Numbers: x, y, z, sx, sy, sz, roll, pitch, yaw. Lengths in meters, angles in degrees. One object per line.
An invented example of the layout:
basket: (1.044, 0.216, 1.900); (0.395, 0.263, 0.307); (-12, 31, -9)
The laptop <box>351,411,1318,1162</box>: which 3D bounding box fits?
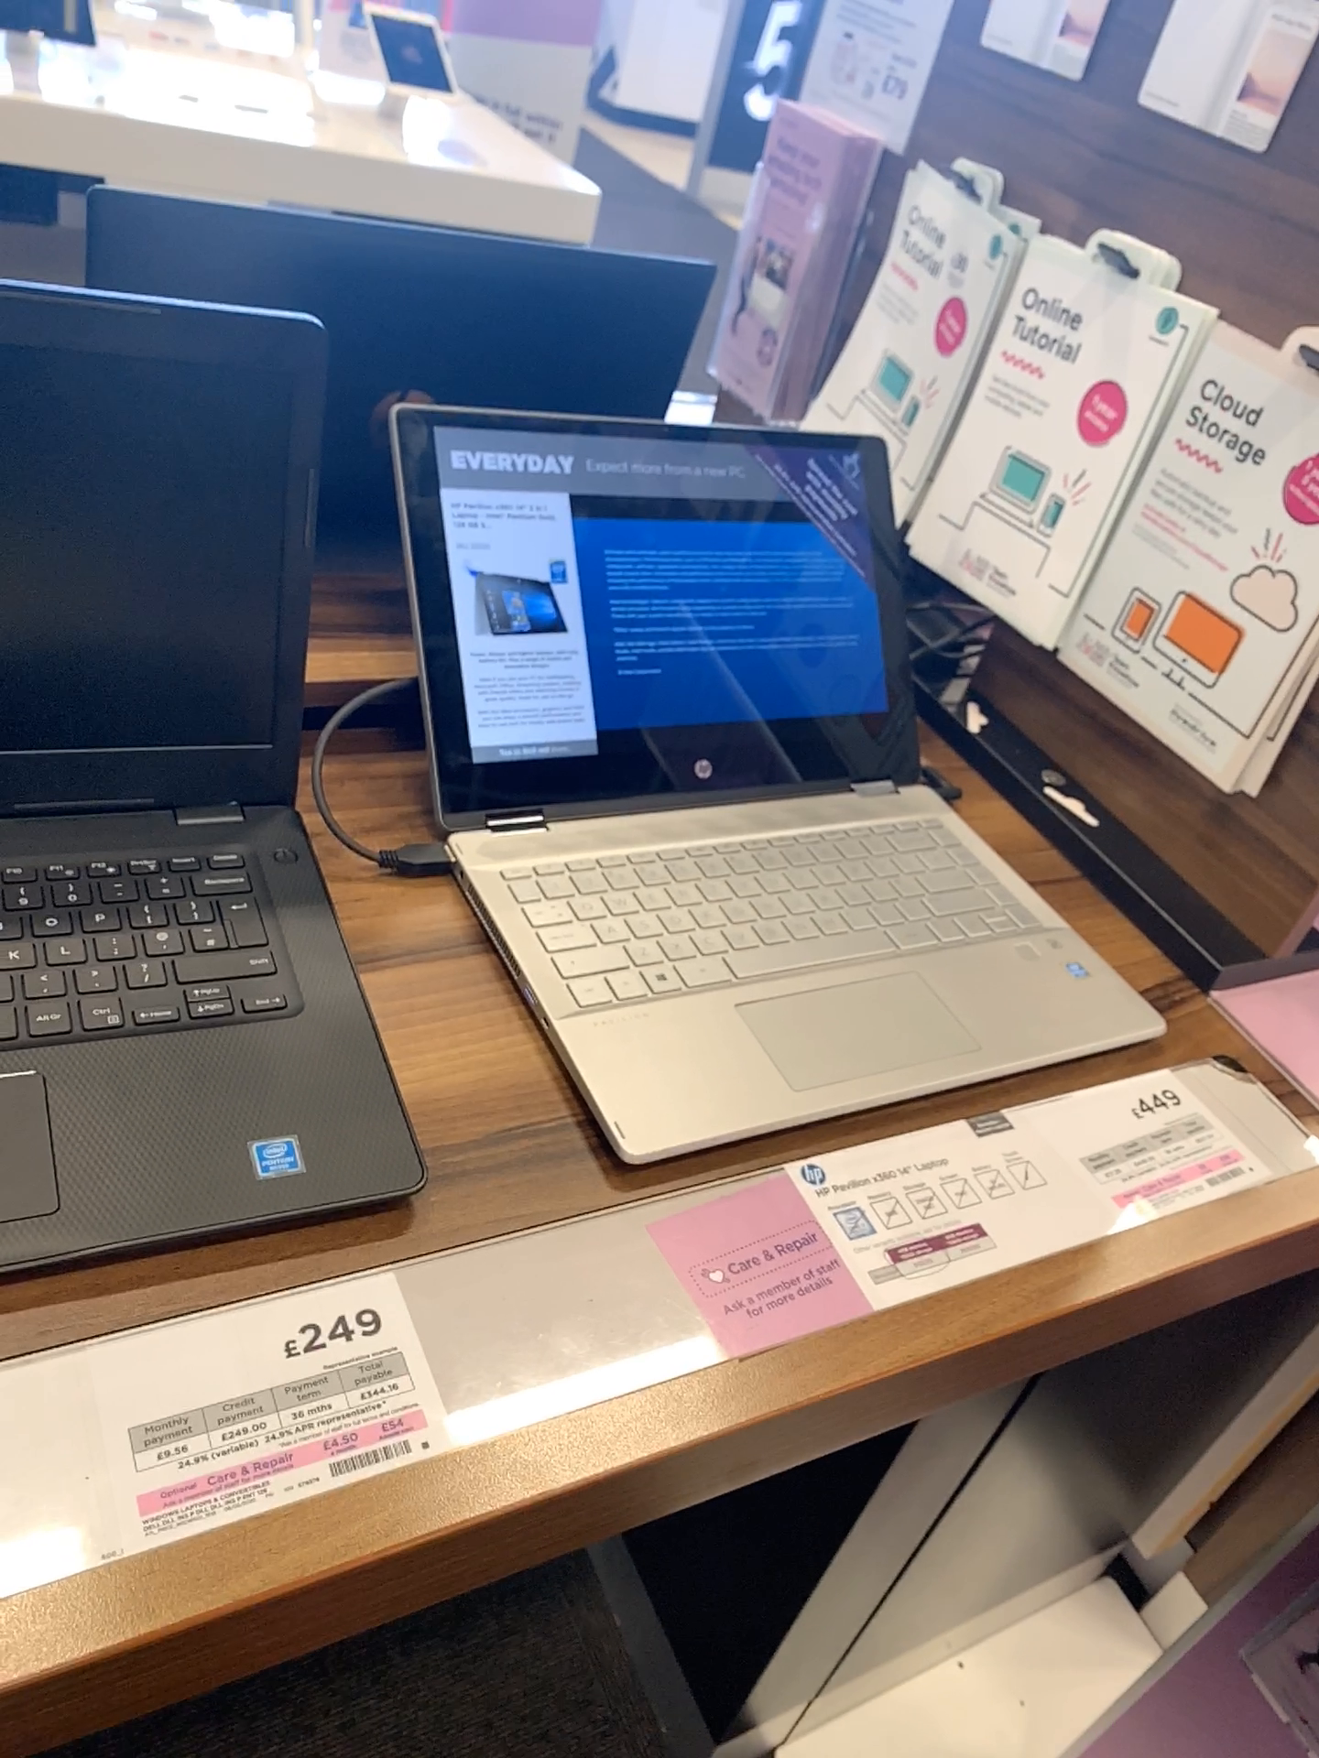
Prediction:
laptop: (0.061, -0.079, 0.687); (0.313, 0.154, 0.362); (-7, 43, -30)
